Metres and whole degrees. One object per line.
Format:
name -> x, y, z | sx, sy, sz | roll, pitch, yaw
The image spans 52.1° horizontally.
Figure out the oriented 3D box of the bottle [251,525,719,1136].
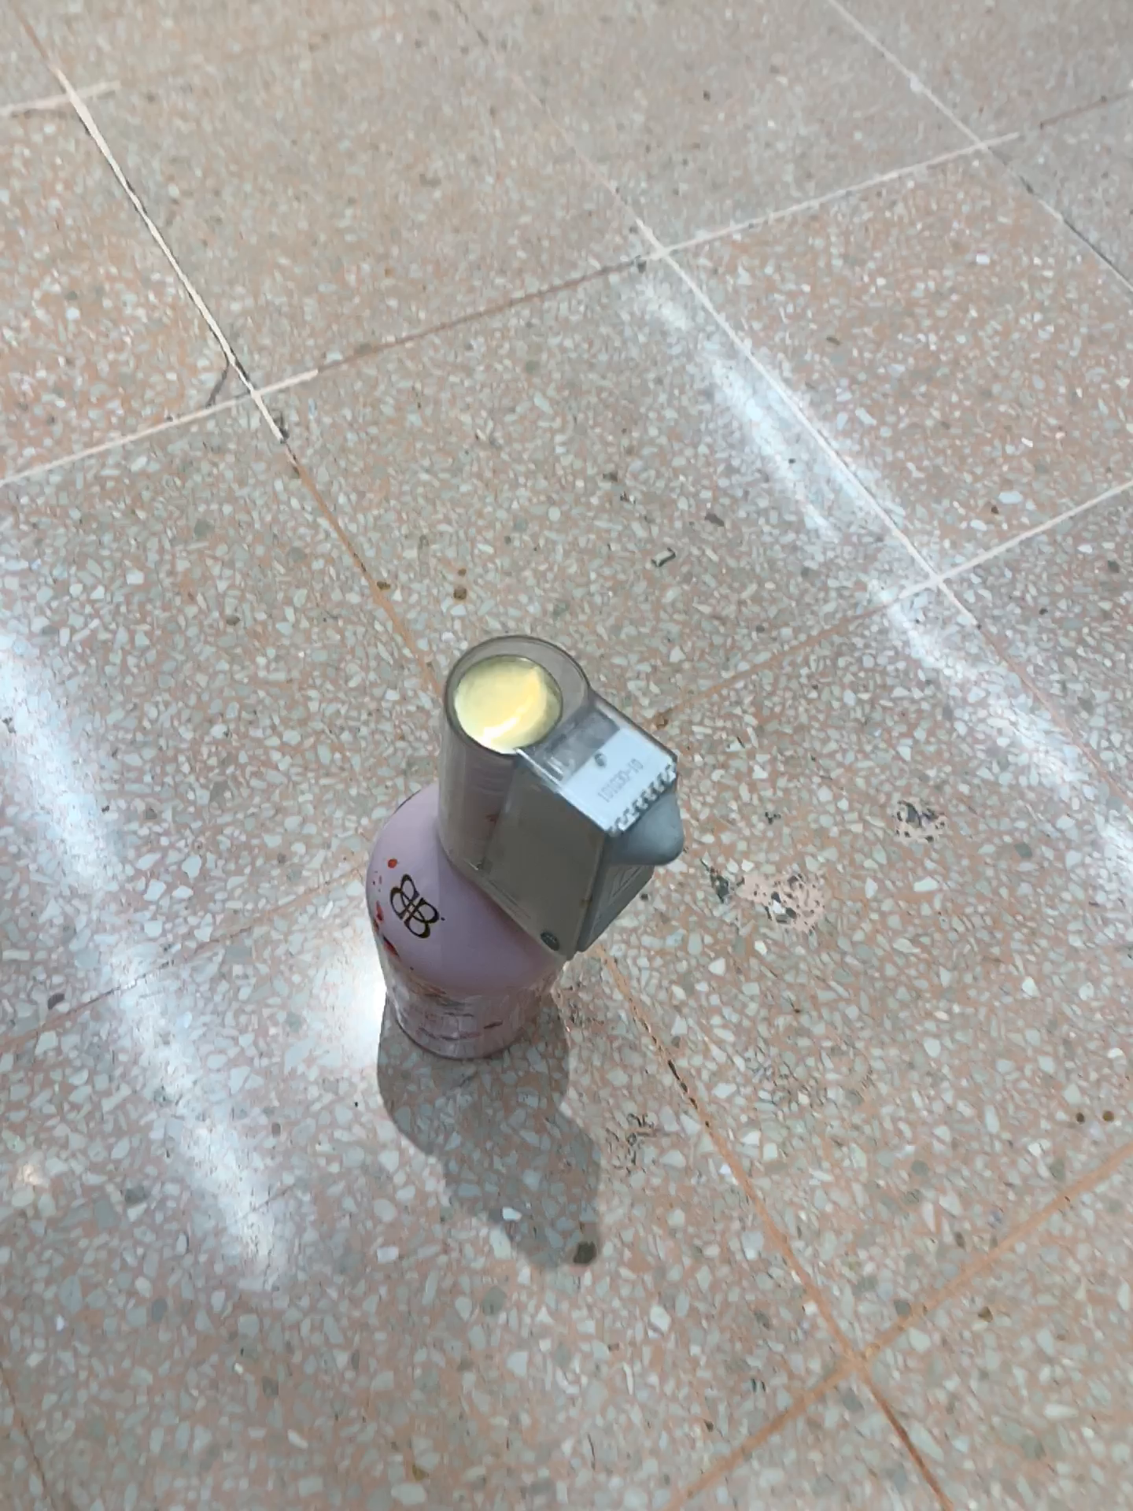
bottle -> -0.036, 0.049, 0.410 | 0.073, 0.254, 0.104 | -34, 72, -21
